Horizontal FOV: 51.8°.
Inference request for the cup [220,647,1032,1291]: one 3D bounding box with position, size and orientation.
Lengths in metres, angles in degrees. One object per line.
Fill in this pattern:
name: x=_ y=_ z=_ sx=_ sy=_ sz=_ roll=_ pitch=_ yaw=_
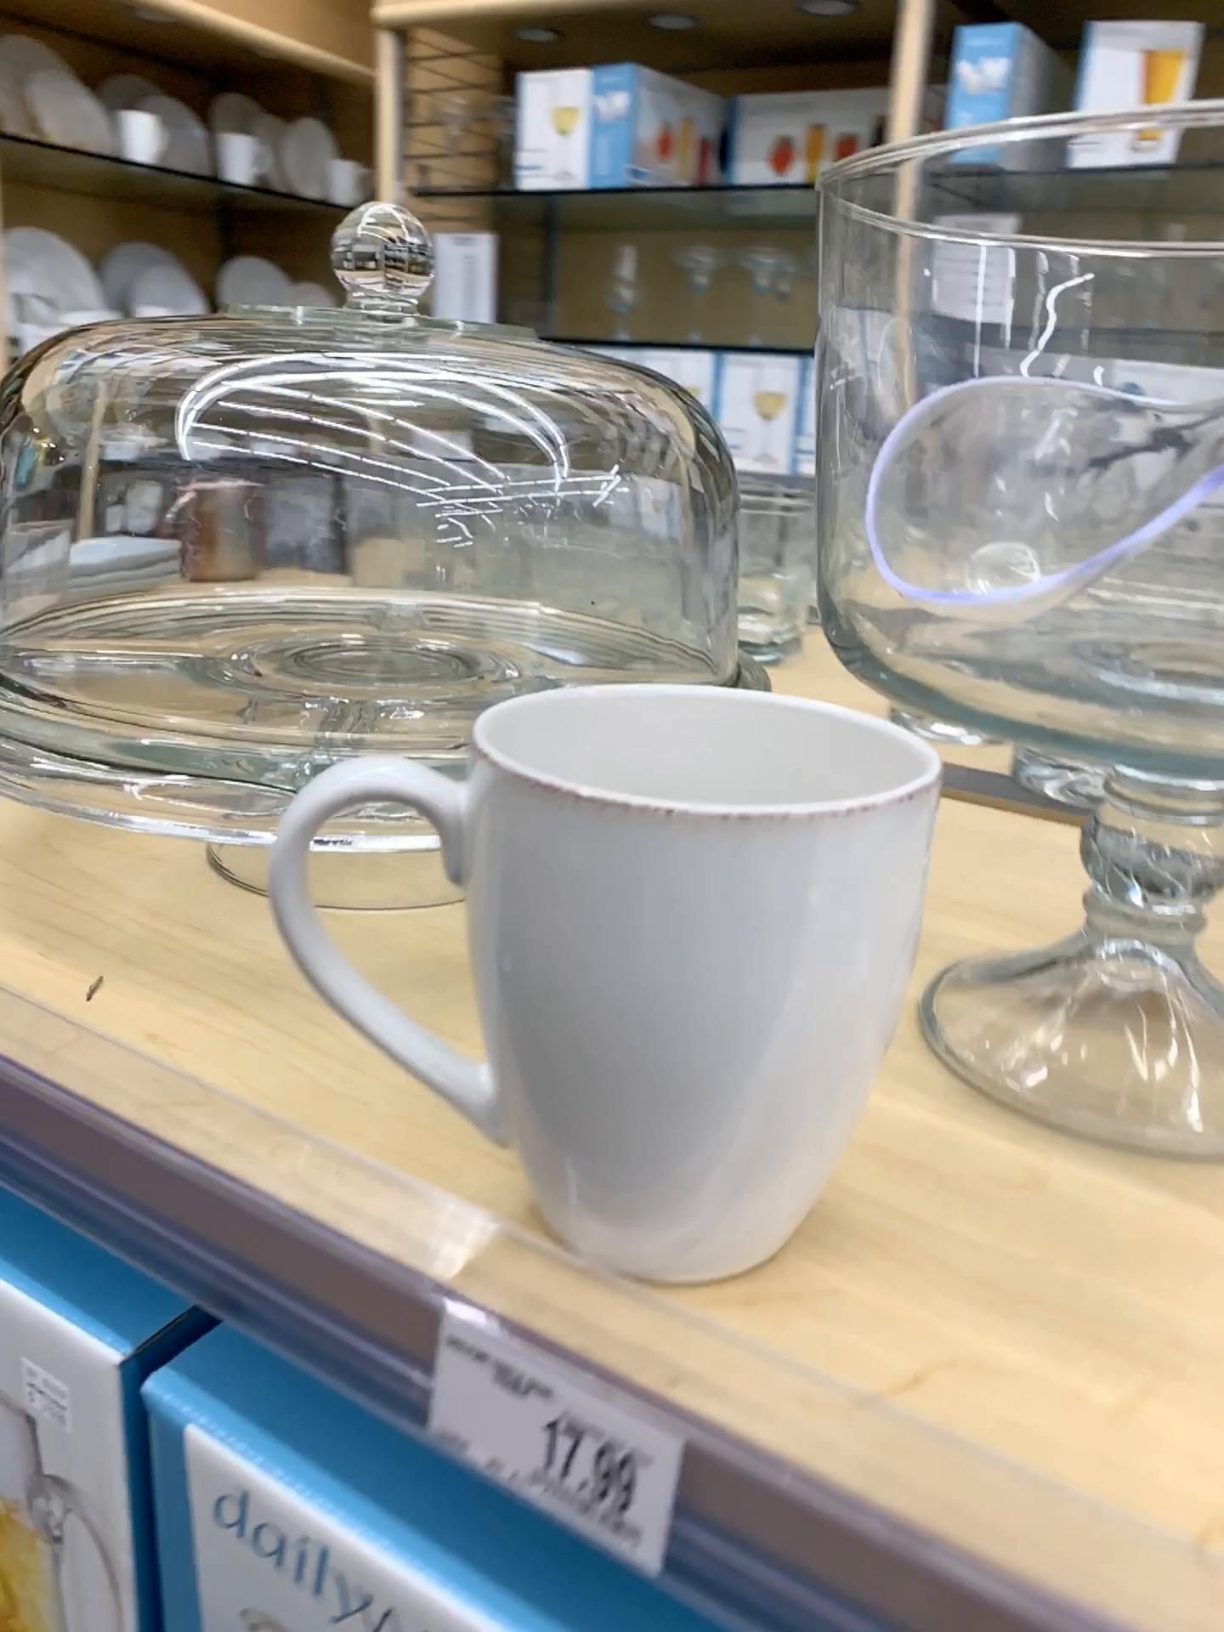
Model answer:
cup: x=-0.003 y=0.025 z=0.261 sx=0.130 sy=0.094 sz=0.096 roll=1 pitch=22 yaw=-7
